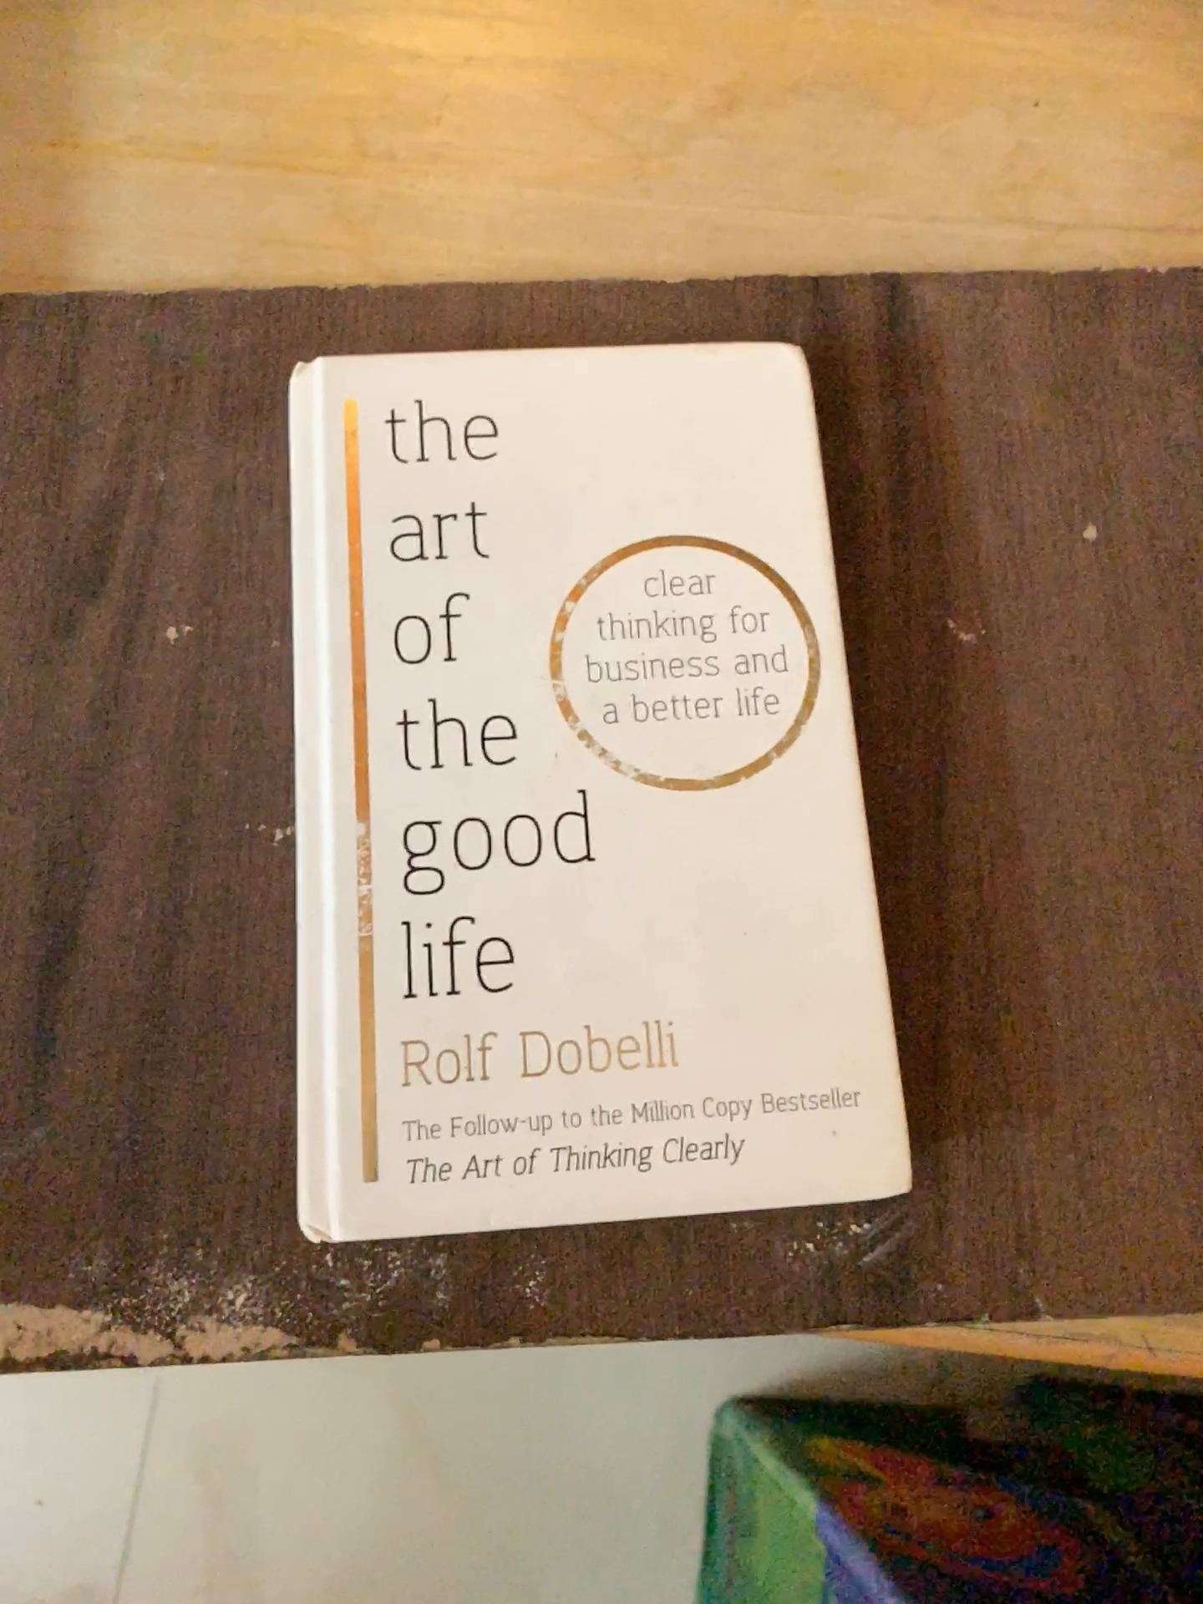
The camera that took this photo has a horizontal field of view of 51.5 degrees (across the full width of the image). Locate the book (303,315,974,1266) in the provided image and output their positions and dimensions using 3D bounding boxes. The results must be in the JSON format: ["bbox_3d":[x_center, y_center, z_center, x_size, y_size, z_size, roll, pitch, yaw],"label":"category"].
[{"bbox_3d":[0.002,-0.007,0.256,0.117,0.037,0.180,-3,78,-3],"label":"book"}]
